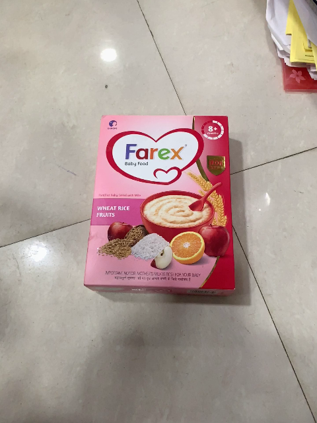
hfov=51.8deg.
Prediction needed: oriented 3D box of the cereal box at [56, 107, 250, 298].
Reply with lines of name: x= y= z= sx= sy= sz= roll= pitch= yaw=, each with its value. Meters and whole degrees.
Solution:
cereal box: x=-0.002 y=-0.013 z=0.340 sx=0.170 sy=0.050 sz=0.190 roll=1 pitch=71 yaw=2
